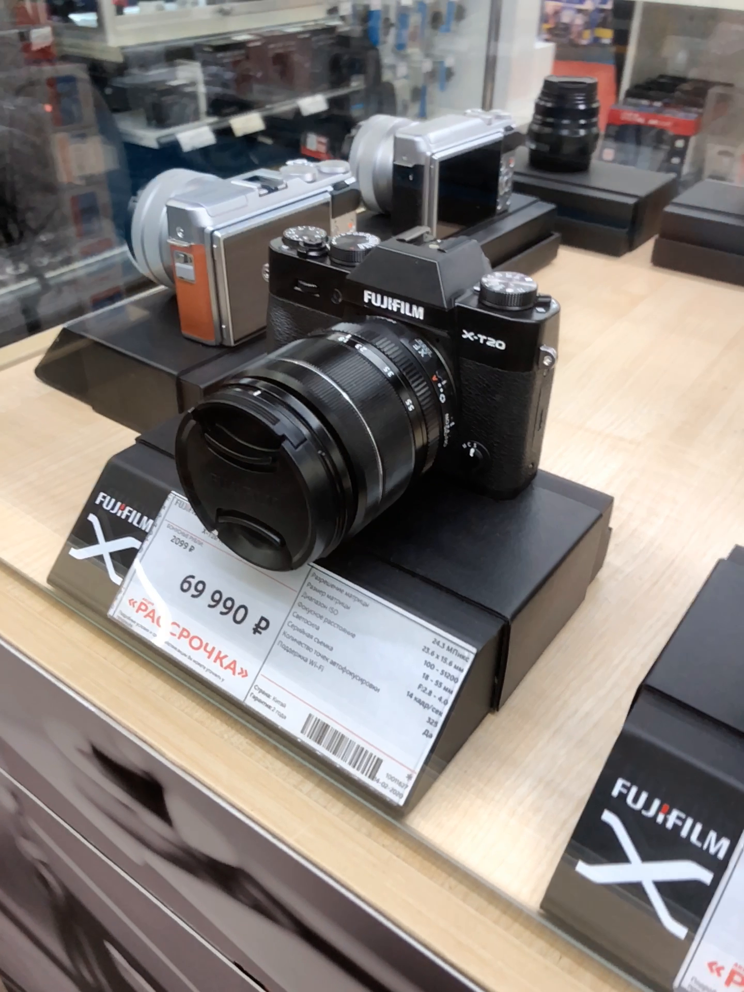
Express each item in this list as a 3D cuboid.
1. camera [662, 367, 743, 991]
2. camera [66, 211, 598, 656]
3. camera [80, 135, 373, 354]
[{"bbox_3d":[0.156,0.044,0.180,0.130,0.072,0.124,24,41,28],"label":"camera"},{"bbox_3d":[-0.010,-0.036,0.297,0.122,0.080,0.131,25,41,30],"label":"camera"},{"bbox_3d":[-0.066,-0.131,0.411,0.074,0.063,0.122,24,41,28],"label":"camera"}]
